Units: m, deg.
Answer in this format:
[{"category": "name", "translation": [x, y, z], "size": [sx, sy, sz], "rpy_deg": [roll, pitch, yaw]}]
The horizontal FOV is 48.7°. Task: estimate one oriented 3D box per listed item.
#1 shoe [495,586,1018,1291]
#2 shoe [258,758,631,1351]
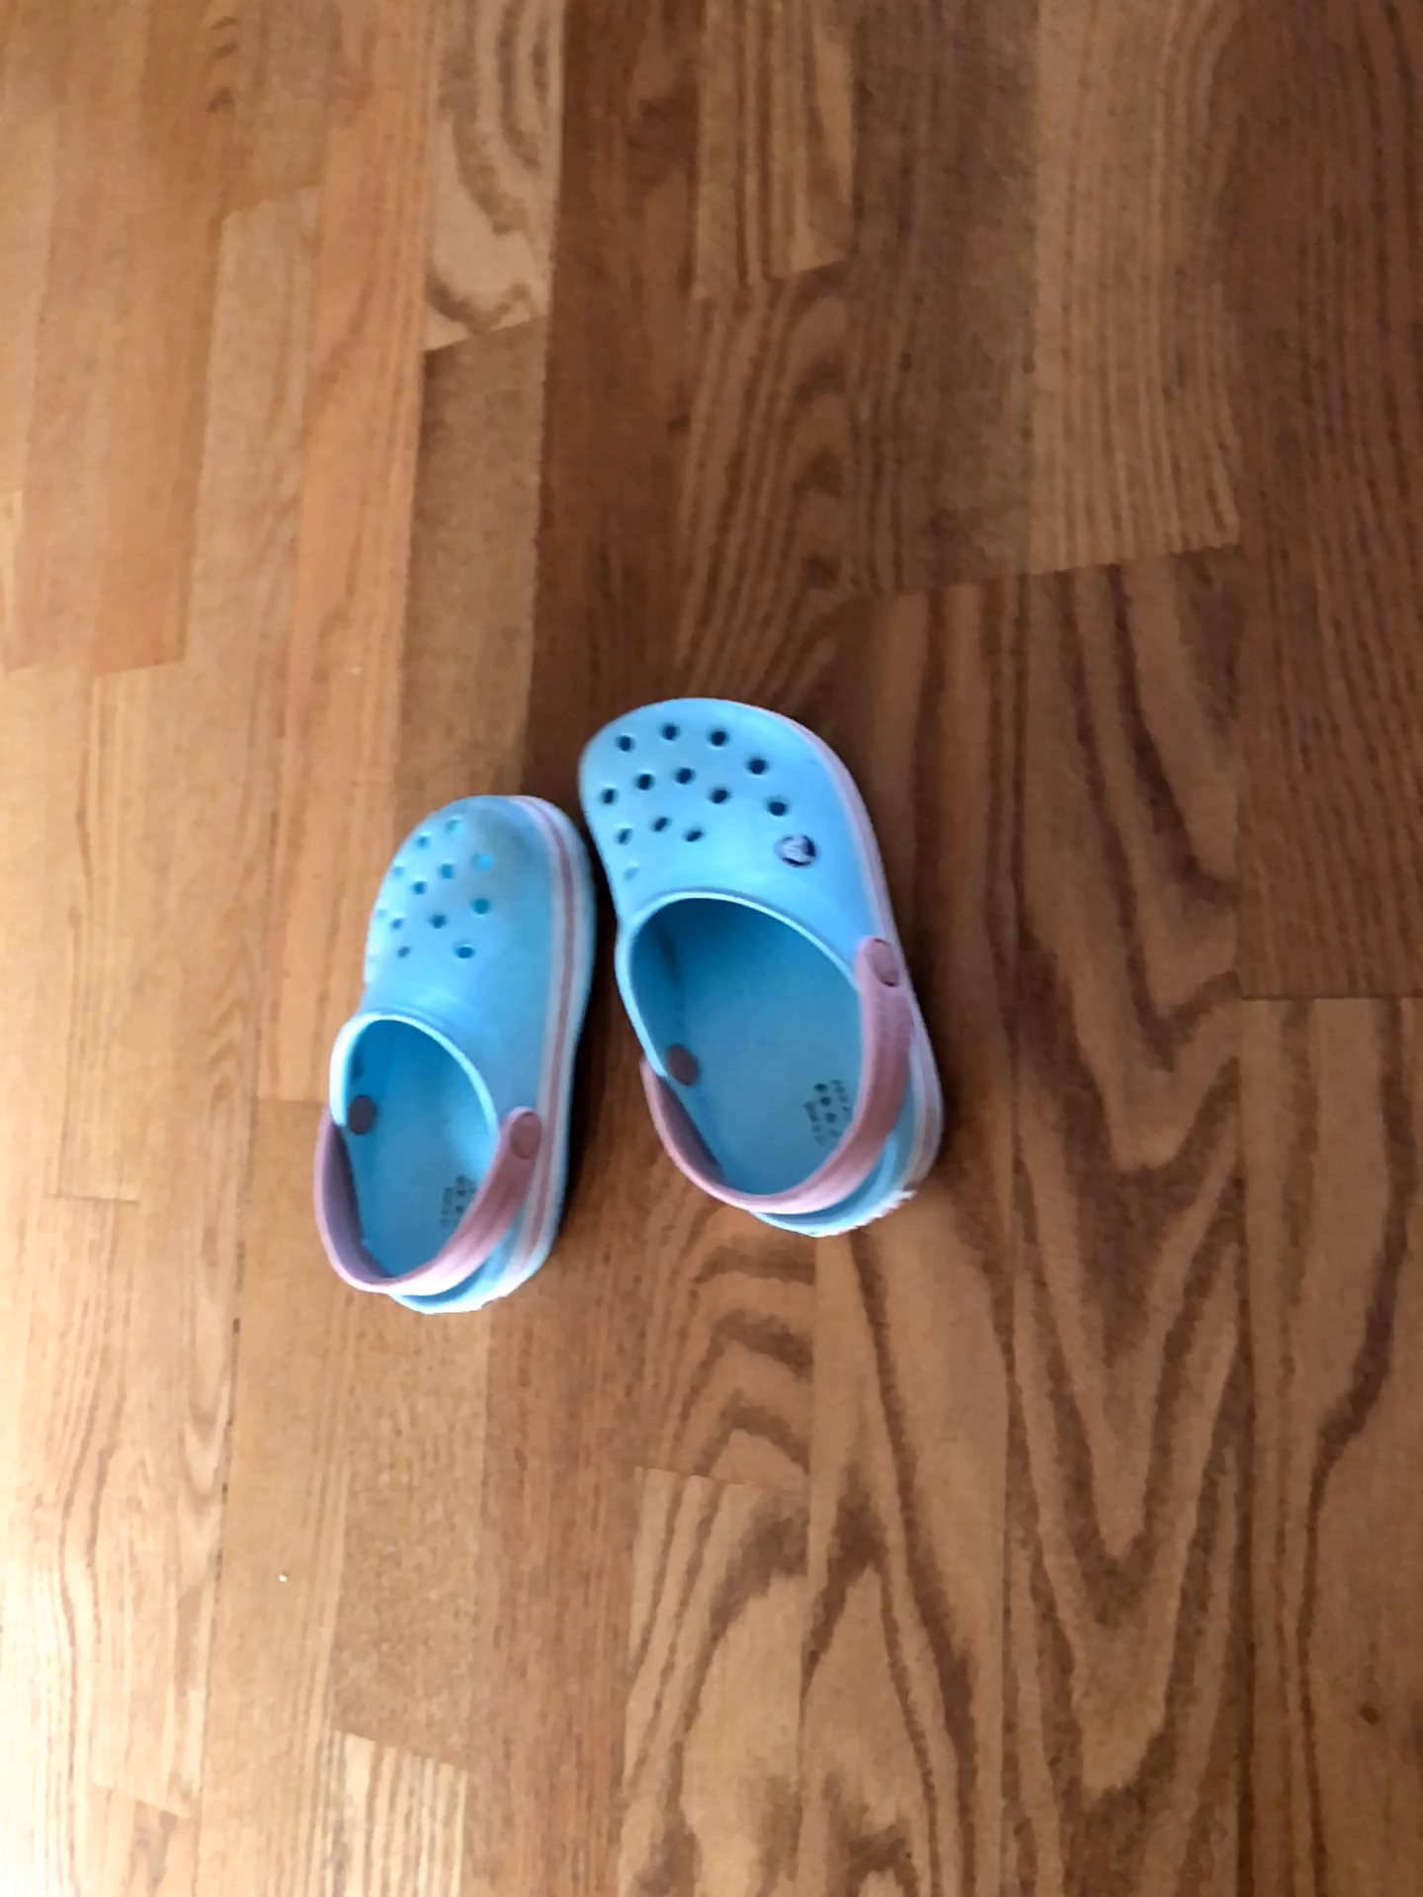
[{"category": "shoe", "translation": [0.008, -0.001, 0.427], "size": [0.083, 0.048, 0.165], "rpy_deg": [-28, 68, 26]}, {"category": "shoe", "translation": [-0.081, 0.032, 0.482], "size": [0.083, 0.057, 0.165], "rpy_deg": [-1, 82, 32]}]
